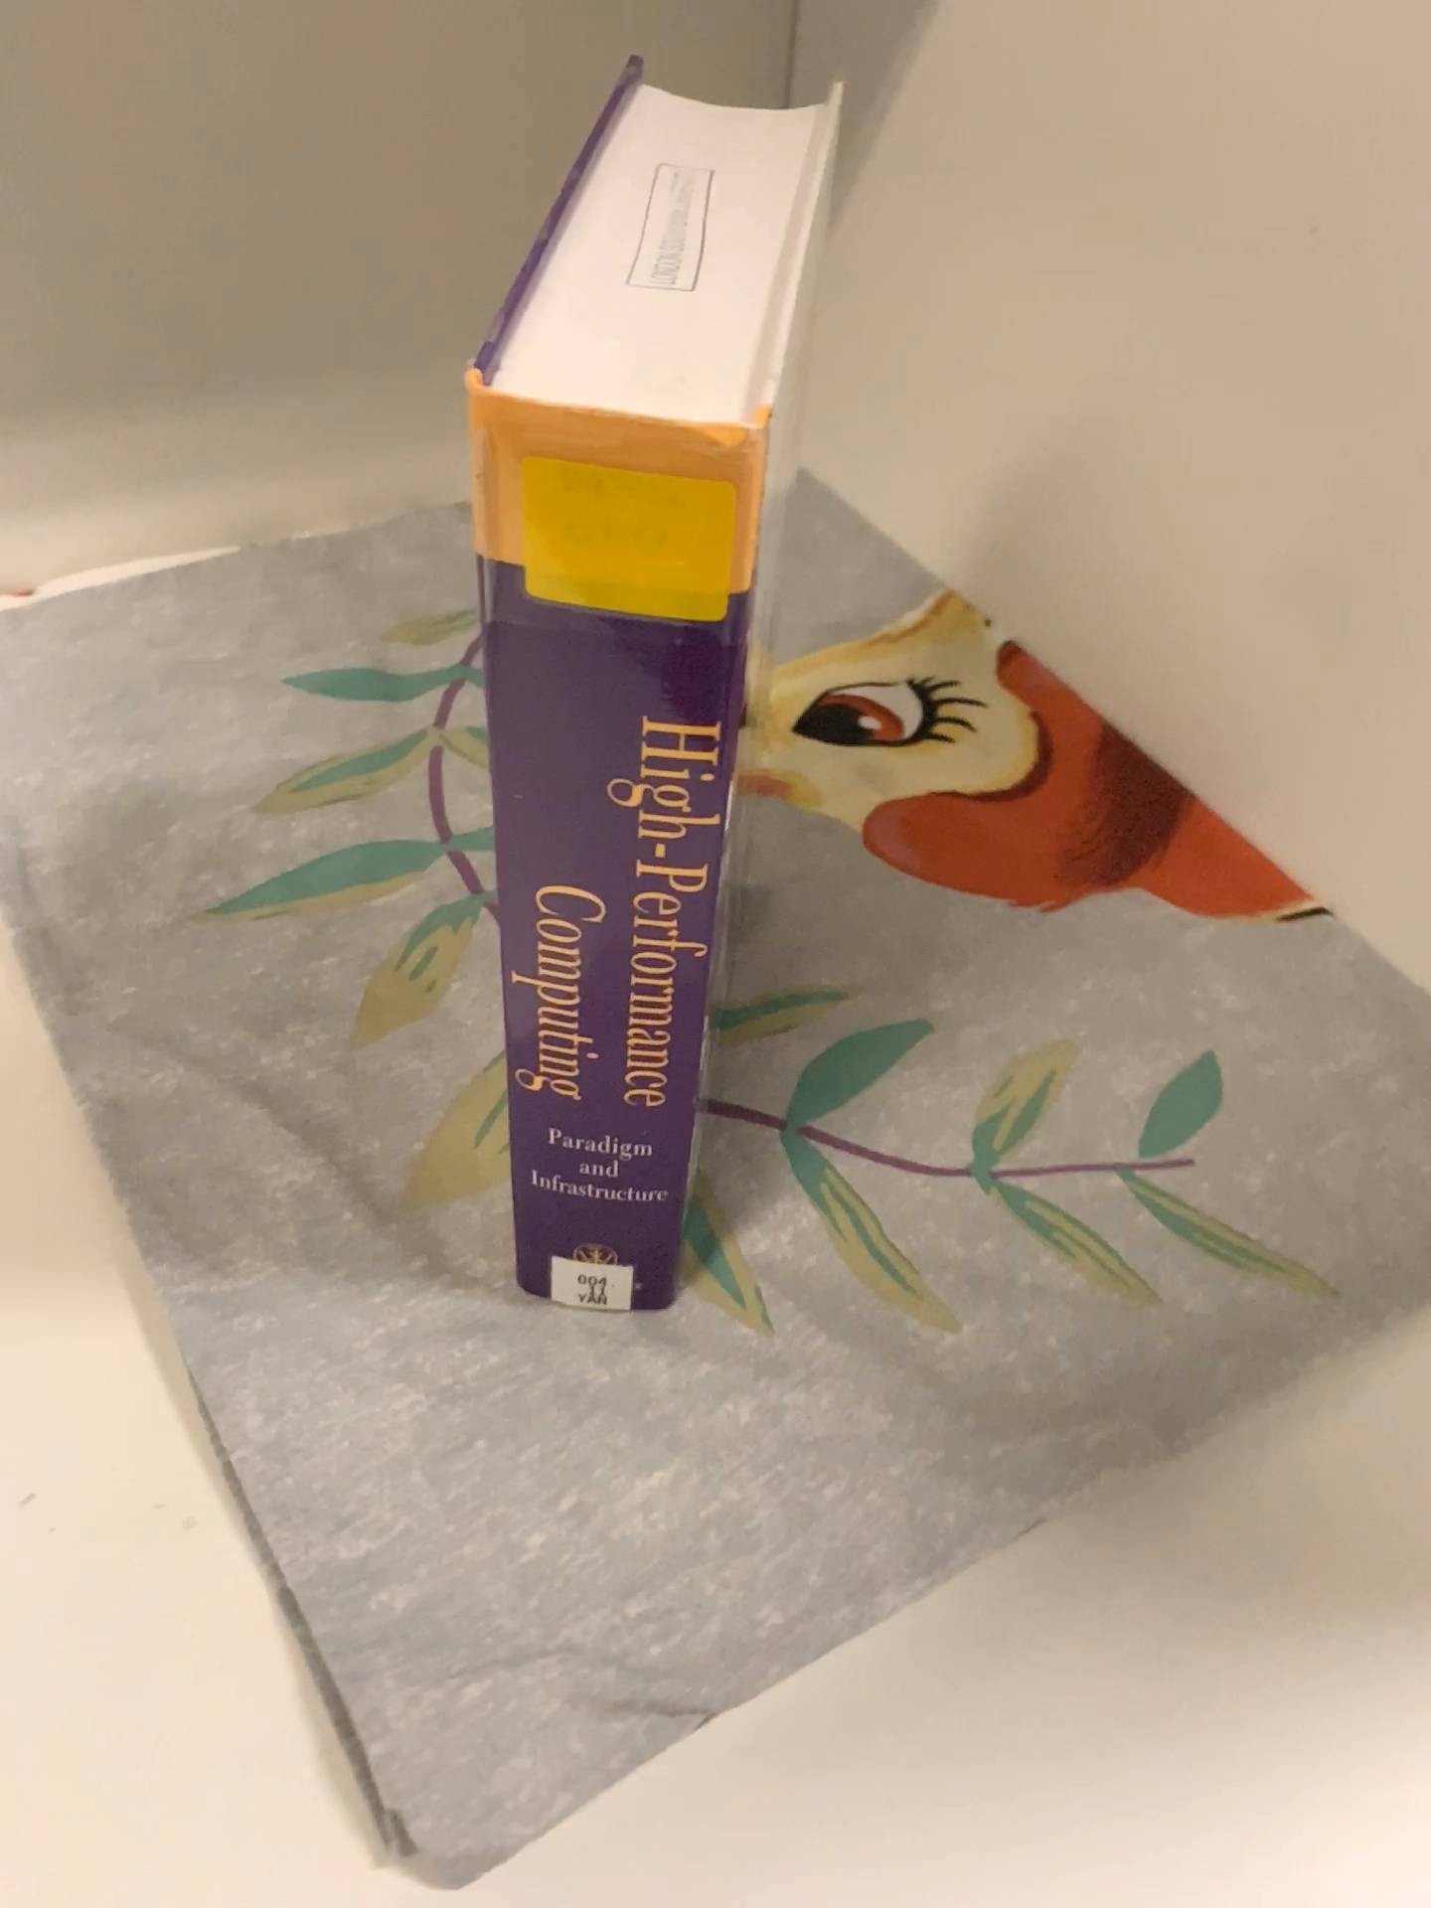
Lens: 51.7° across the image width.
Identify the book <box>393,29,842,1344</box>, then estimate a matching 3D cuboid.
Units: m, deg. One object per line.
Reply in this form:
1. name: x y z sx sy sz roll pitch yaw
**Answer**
1. book: -0.014 -0.050 0.342 0.049 0.243 0.170 7 46 3
